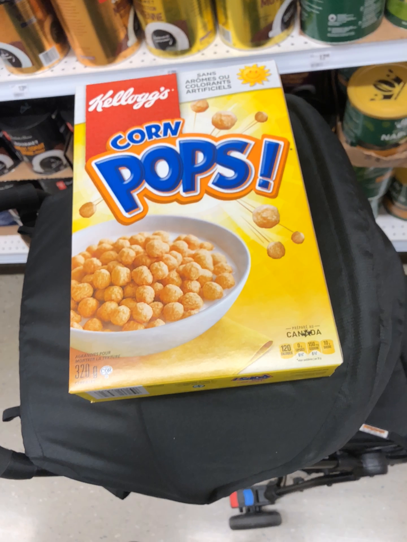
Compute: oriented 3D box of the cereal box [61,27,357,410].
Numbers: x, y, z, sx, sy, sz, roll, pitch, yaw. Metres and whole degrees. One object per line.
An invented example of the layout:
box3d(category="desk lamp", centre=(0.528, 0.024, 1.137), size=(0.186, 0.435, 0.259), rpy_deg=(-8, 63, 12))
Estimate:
box3d(category="cereal box", centre=(-0.011, -0.058, 0.395), size=(0.200, 0.060, 0.321), rpy_deg=(-7, 67, 3))
